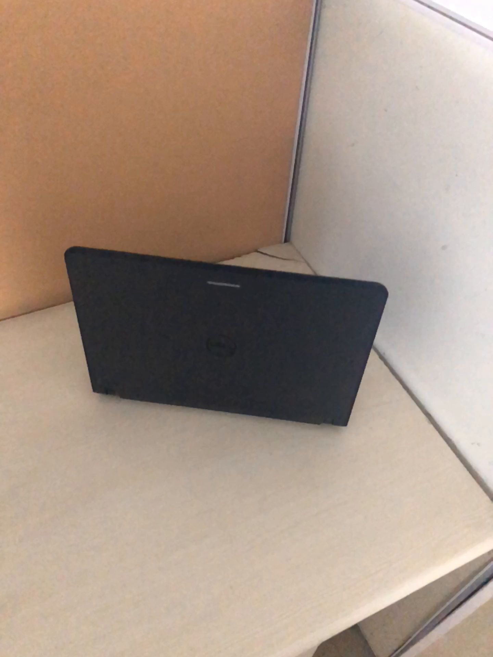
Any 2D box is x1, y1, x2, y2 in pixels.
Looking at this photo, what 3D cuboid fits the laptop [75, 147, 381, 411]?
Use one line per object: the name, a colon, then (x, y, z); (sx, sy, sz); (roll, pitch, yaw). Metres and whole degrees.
laptop: (-0.010, -0.063, 0.684); (0.304, 0.211, 0.215); (8, 47, 3)
